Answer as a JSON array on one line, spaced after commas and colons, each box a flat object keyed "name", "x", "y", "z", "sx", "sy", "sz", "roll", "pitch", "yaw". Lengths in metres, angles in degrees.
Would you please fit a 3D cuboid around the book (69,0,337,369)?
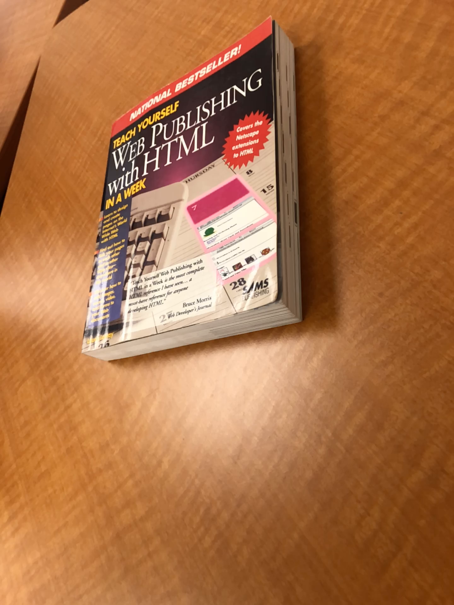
[{"name": "book", "x": -0.026, "y": -0.088, "z": 0.397, "sx": 0.211, "sy": 0.040, "sz": 0.251, "roll": -15, "pitch": 62, "yaw": 35}]
